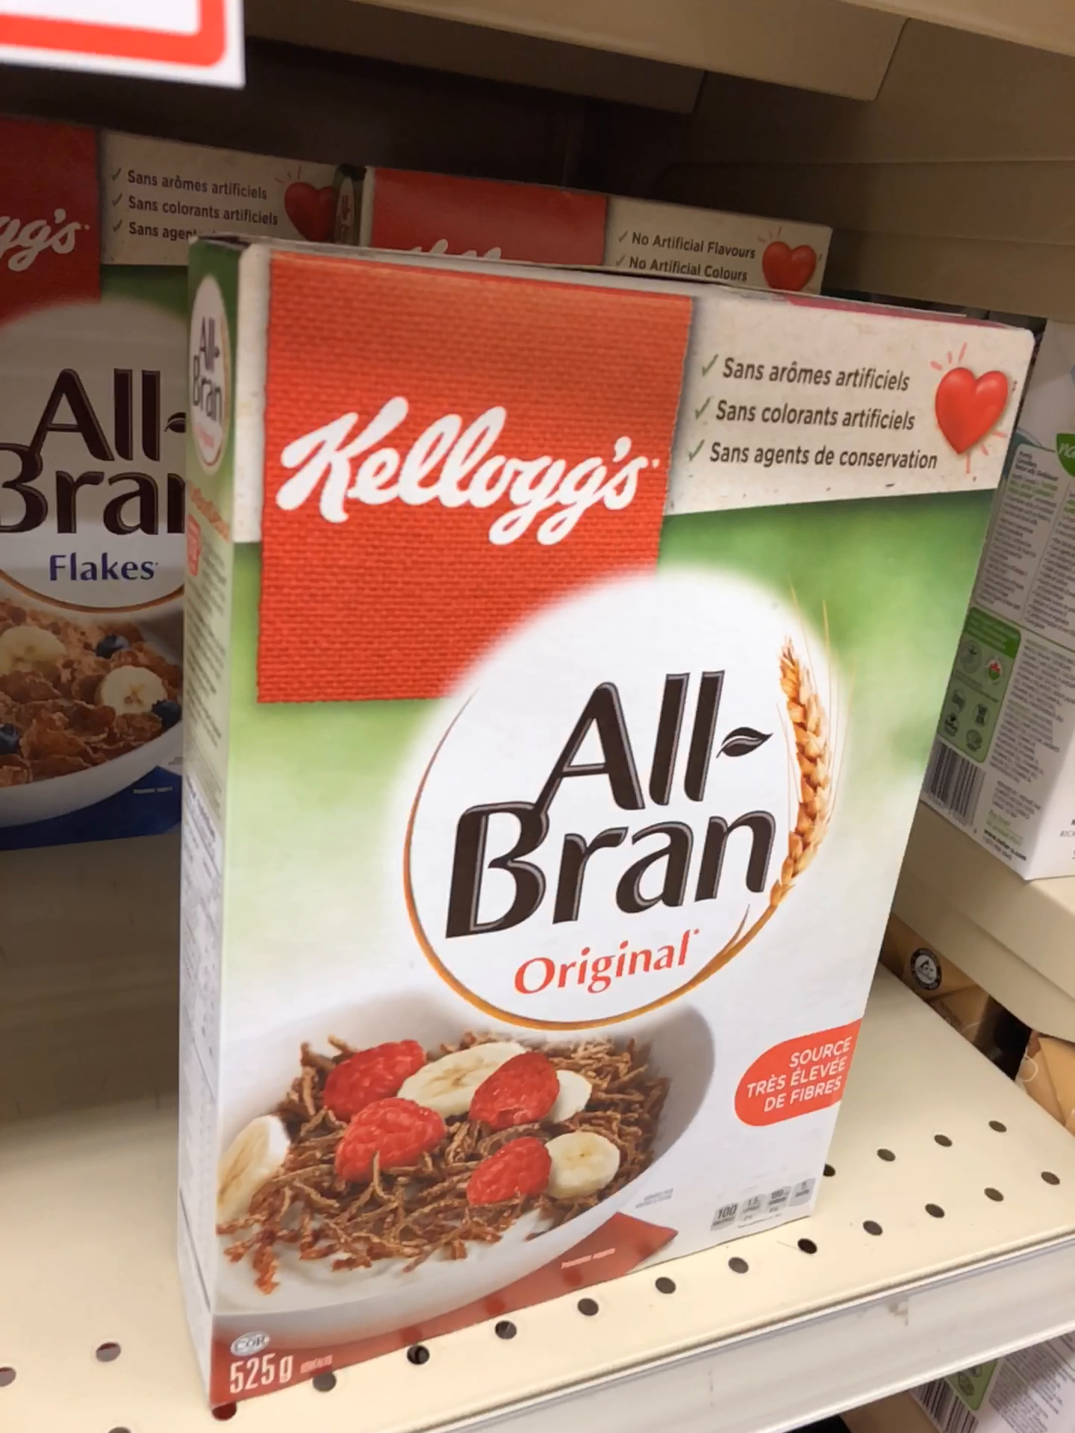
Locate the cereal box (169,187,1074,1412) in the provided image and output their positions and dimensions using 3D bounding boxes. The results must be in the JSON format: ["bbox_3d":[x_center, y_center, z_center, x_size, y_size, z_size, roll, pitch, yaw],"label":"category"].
[{"bbox_3d":[0.020,0.022,0.271,0.190,0.238,0.050,-4,25,-26],"label":"cereal box"}]
